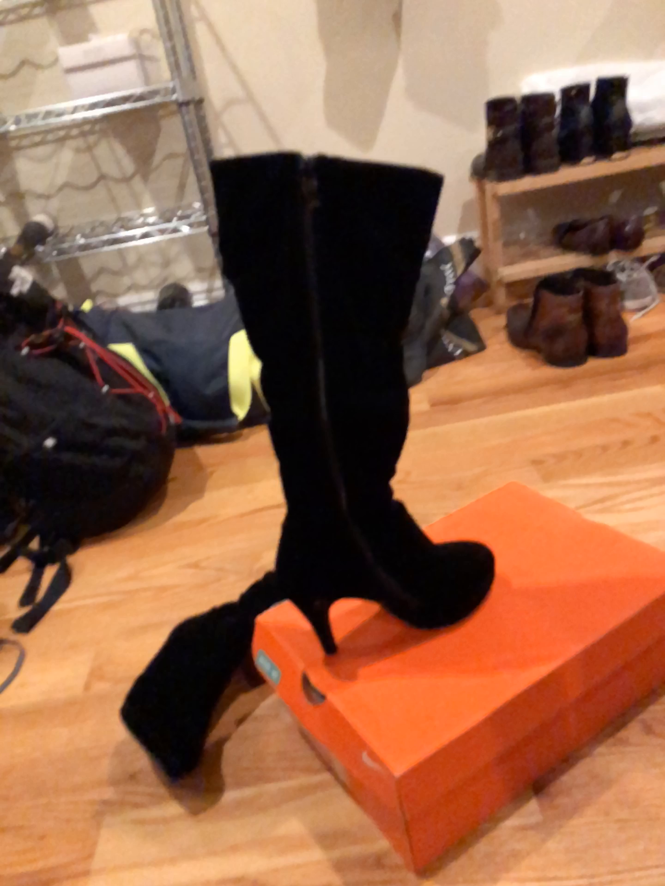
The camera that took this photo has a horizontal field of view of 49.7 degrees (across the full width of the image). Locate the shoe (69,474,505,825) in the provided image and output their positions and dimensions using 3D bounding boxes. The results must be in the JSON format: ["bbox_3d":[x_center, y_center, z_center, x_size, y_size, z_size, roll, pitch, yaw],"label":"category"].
[{"bbox_3d":[-0.042,0.181,0.757,0.400,0.089,0.207,-24,27,-25],"label":"shoe"}]

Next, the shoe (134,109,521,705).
[{"bbox_3d":[0.020,-0.021,0.555,0.216,0.397,0.089,-21,28,-20],"label":"shoe"}]
